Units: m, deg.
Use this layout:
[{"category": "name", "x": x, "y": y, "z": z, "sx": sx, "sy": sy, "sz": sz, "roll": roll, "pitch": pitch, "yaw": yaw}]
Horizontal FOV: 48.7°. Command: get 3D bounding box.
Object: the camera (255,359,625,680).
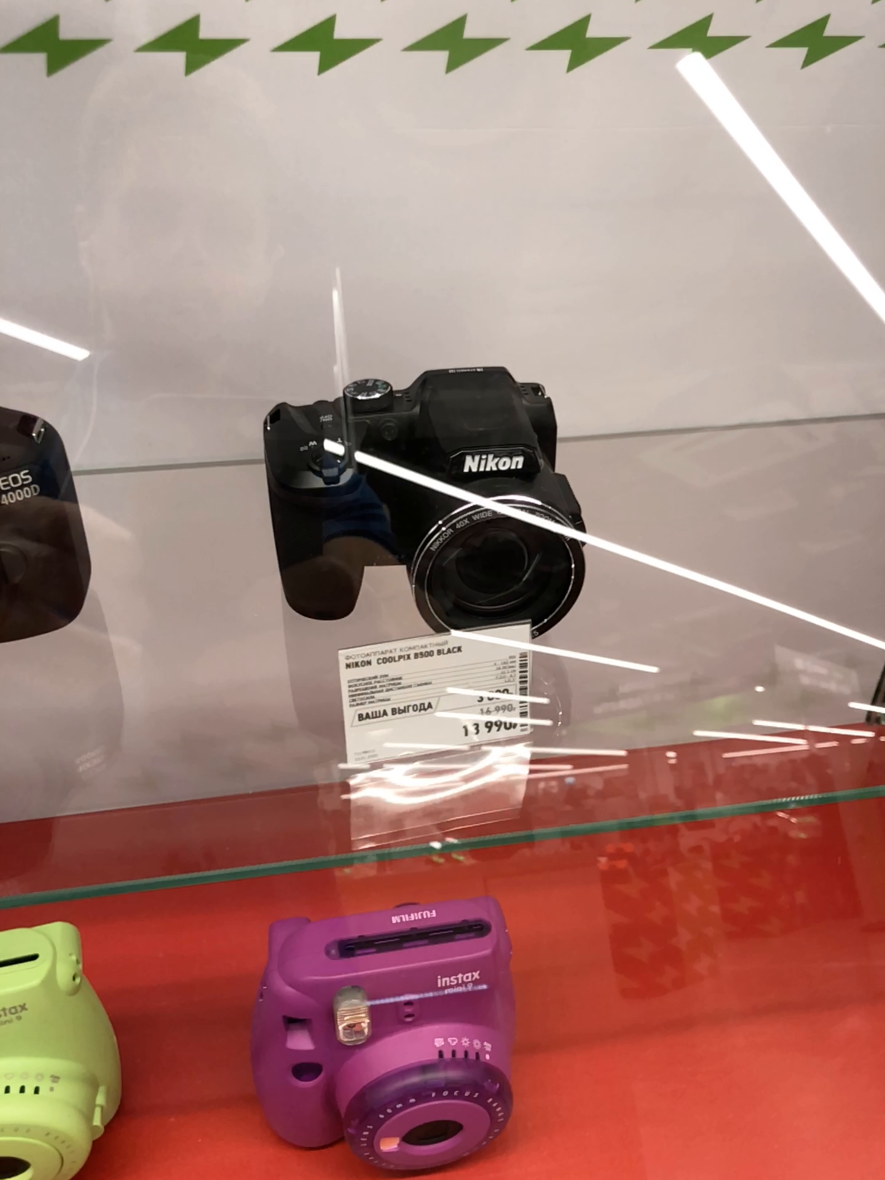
[{"category": "camera", "x": -0.007, "y": -0.031, "z": 0.361, "sx": 0.115, "sy": 0.070, "sz": 0.101, "roll": -4, "pitch": 35, "yaw": -7}]
